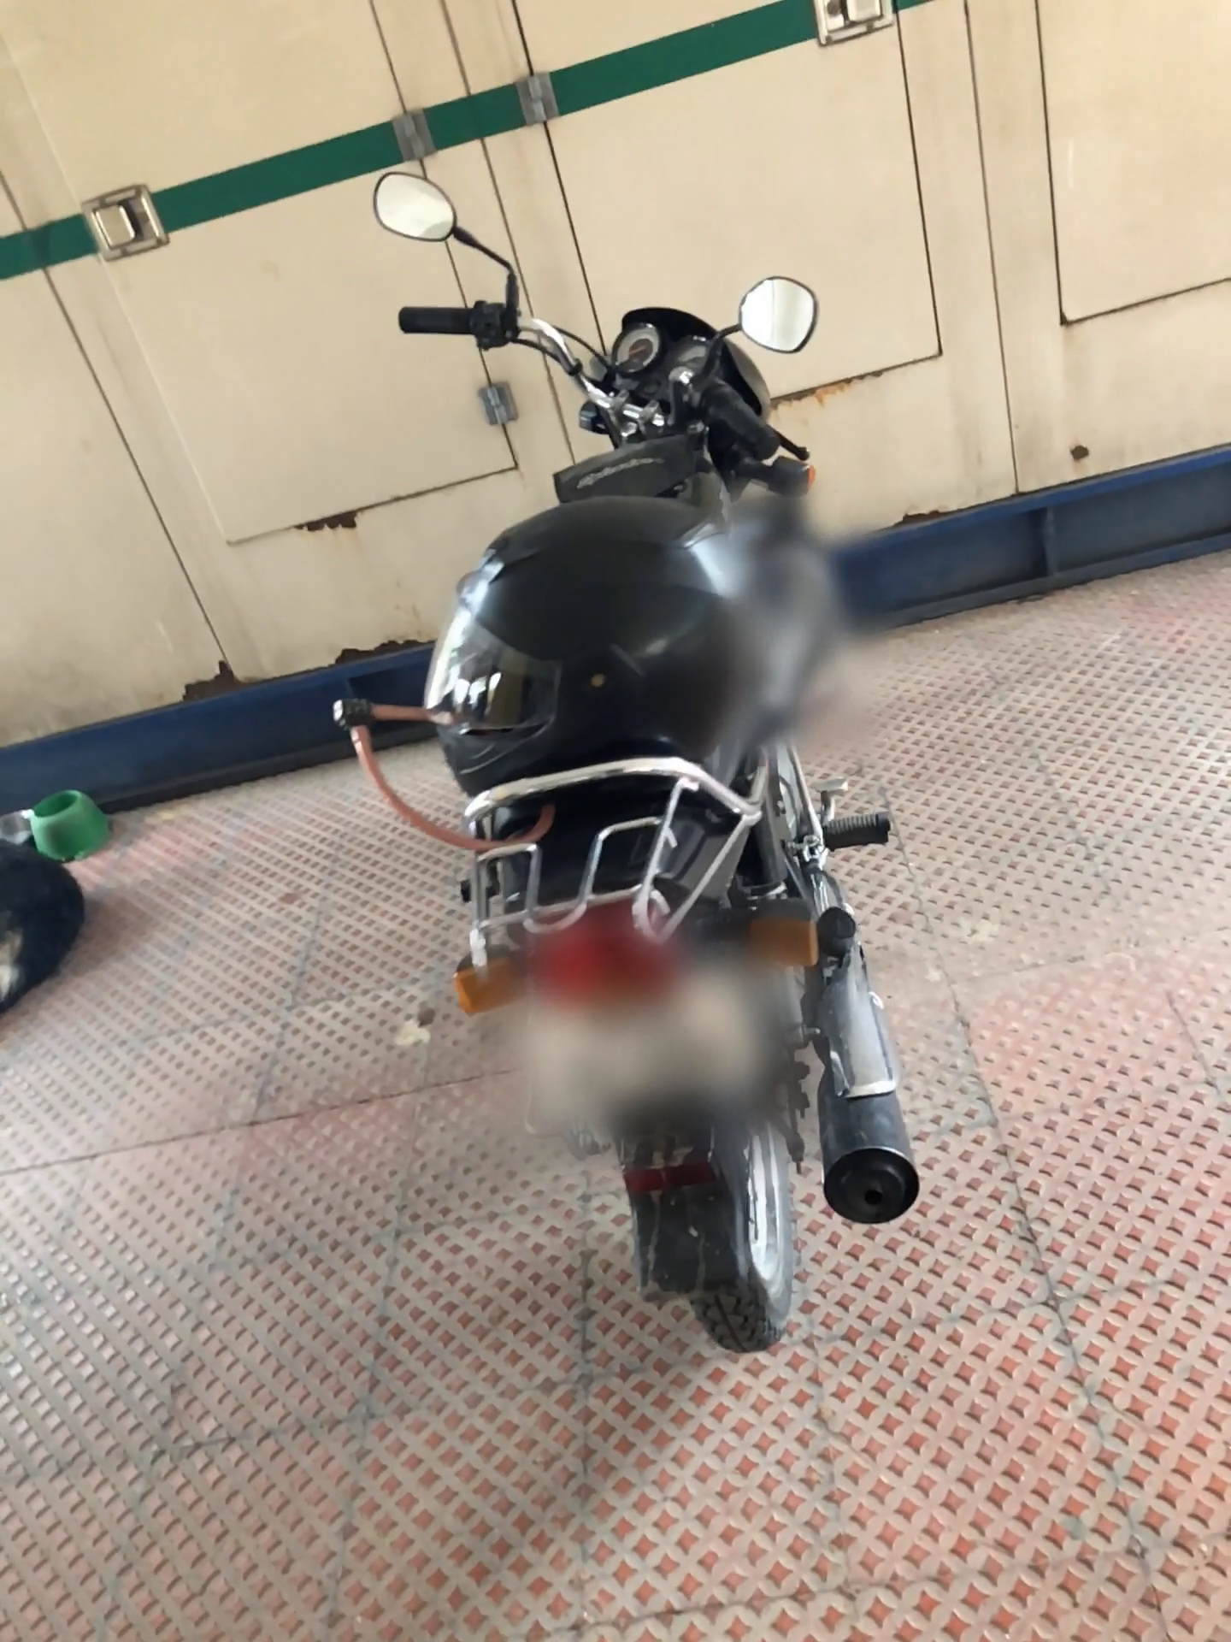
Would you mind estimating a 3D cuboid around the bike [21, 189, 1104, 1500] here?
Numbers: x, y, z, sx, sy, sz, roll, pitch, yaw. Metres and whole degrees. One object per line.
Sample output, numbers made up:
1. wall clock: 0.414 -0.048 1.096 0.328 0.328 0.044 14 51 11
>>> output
1. bike: 0.185 -0.167 2.029 0.735 1.087 1.869 -8 30 15
